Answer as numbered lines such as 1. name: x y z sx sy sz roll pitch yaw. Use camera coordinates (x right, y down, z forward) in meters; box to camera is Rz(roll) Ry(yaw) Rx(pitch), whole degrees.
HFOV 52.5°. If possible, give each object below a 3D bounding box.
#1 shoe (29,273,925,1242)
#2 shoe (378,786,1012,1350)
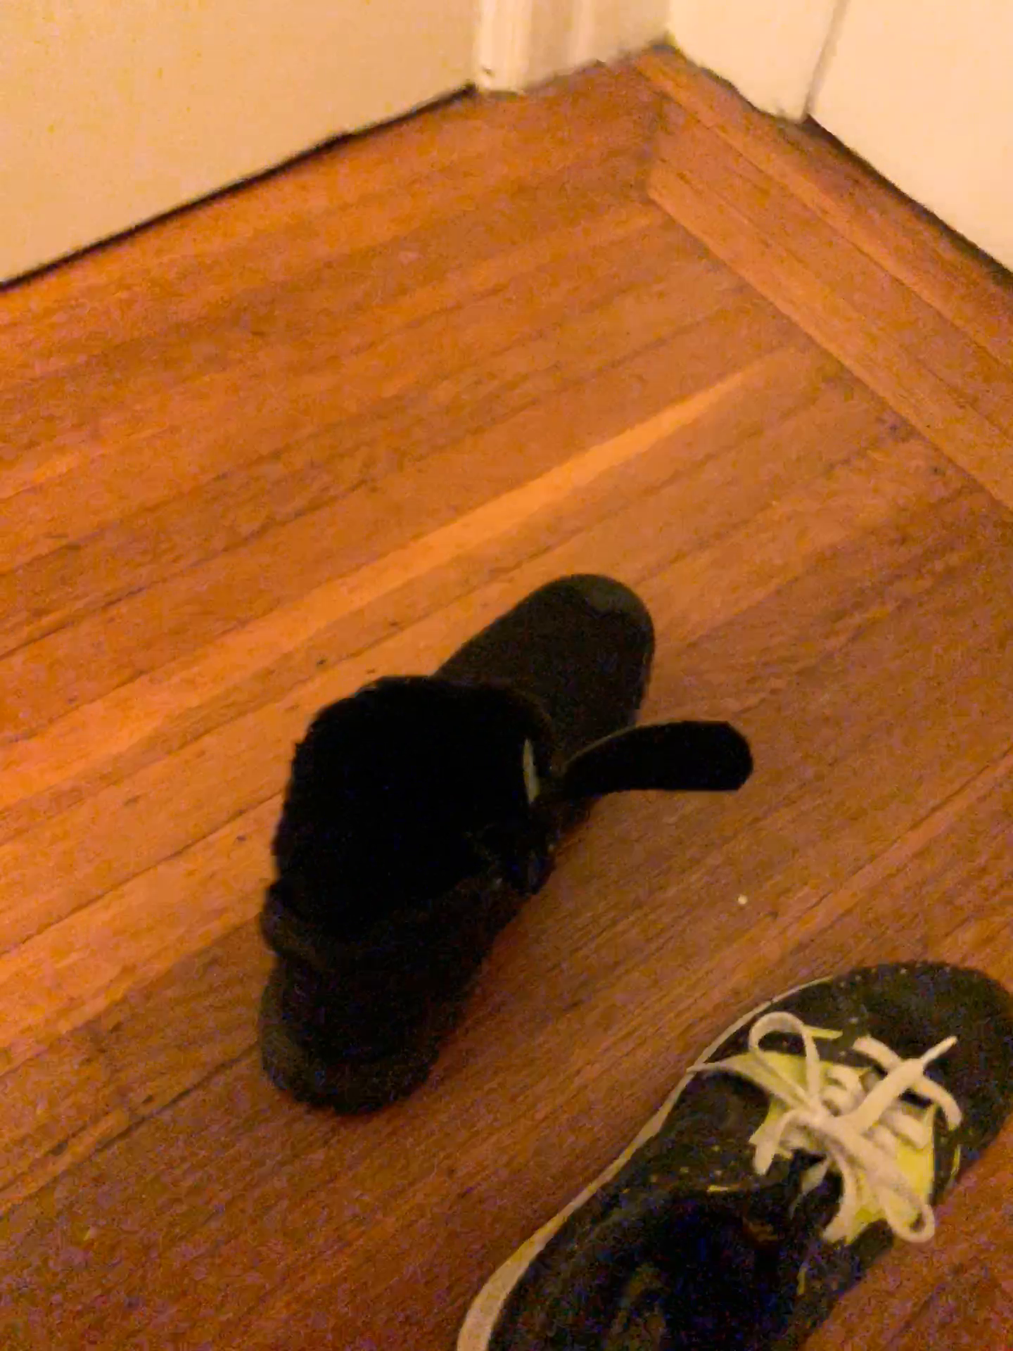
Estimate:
1. shoe: 0.006 0.044 0.443 0.160 0.239 0.311 28 62 11
2. shoe: 0.107 0.188 0.385 0.290 0.100 0.120 -35 69 -21
